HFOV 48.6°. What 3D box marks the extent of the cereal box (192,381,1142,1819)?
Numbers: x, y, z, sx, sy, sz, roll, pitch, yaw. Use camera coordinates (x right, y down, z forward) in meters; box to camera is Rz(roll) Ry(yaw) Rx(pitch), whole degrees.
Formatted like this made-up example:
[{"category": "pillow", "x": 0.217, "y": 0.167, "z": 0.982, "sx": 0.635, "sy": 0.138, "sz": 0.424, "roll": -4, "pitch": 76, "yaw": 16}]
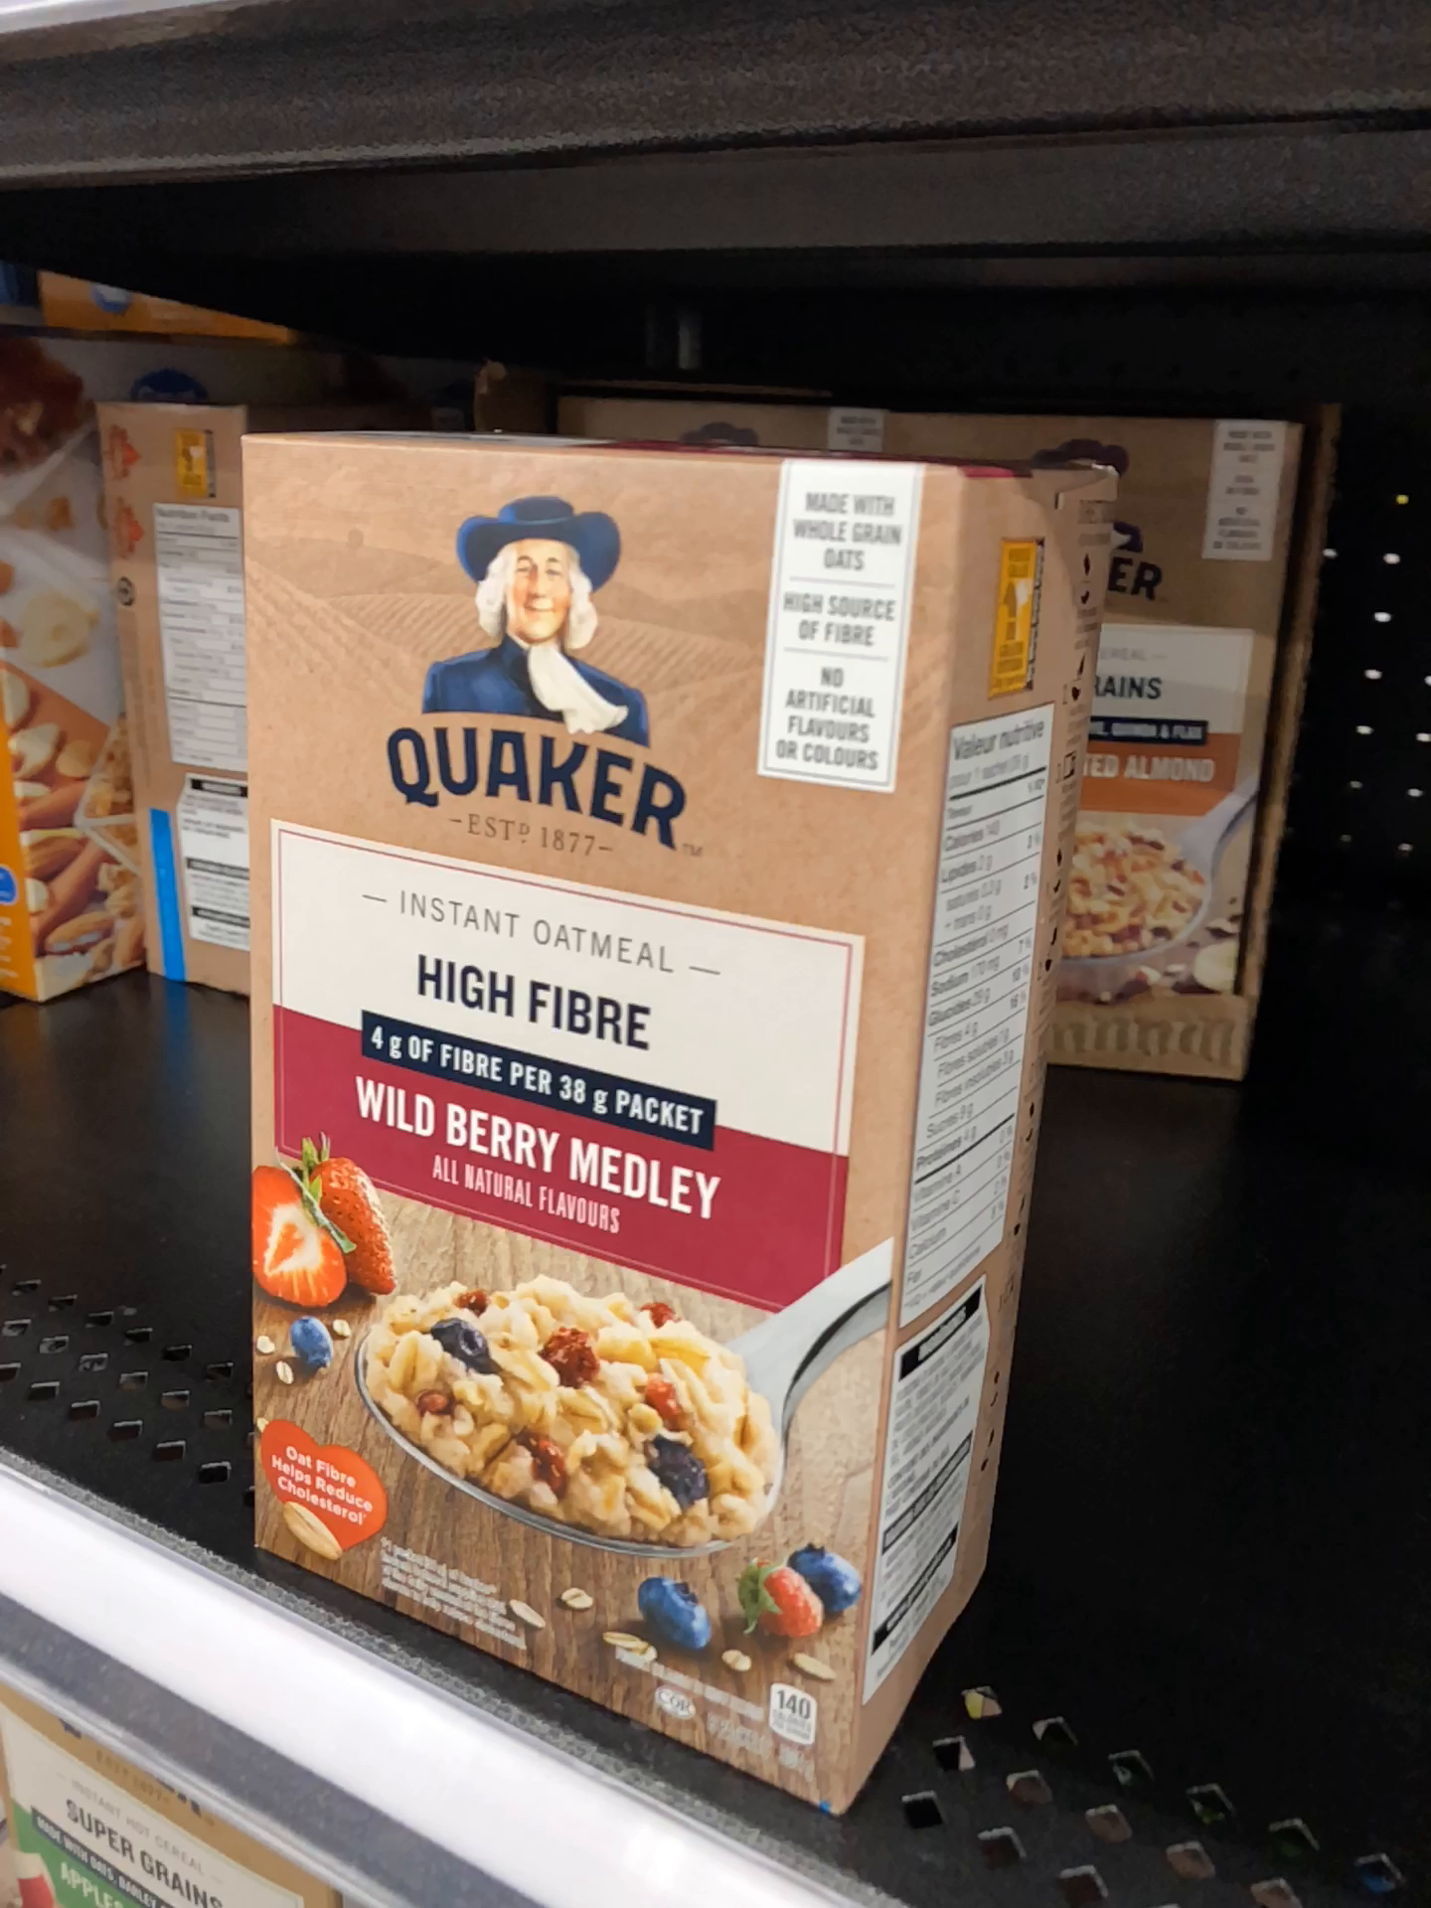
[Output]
[{"category": "cereal box", "x": -0.014, "y": 0.014, "z": 0.264, "sx": 0.130, "sy": 0.199, "sz": 0.060, "roll": 12, "pitch": 17, "yaw": 27}]
